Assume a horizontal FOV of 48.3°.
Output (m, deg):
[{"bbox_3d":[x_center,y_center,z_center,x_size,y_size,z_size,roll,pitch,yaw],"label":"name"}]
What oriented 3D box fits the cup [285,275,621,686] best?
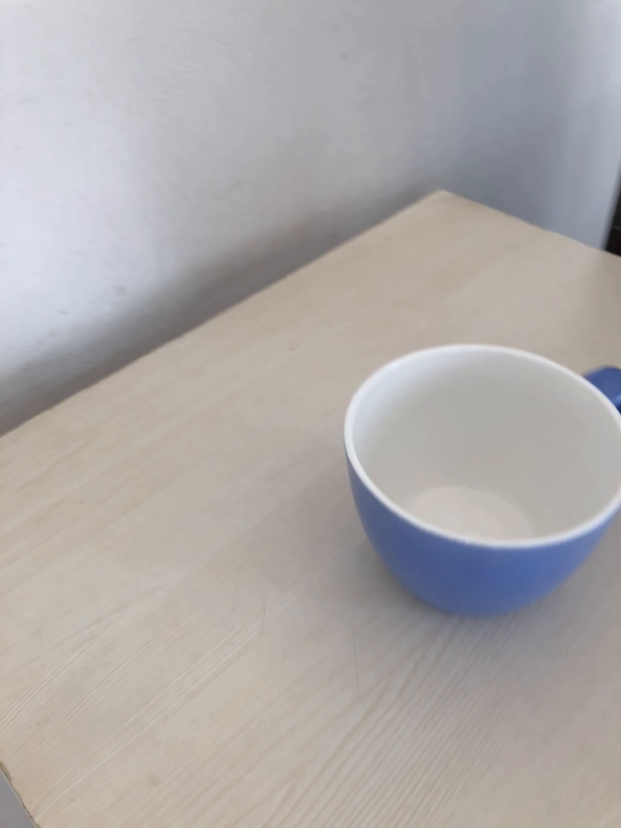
[{"bbox_3d":[0.082,0.018,0.289,0.150,0.070,0.100,-24,46,-19],"label":"cup"}]
